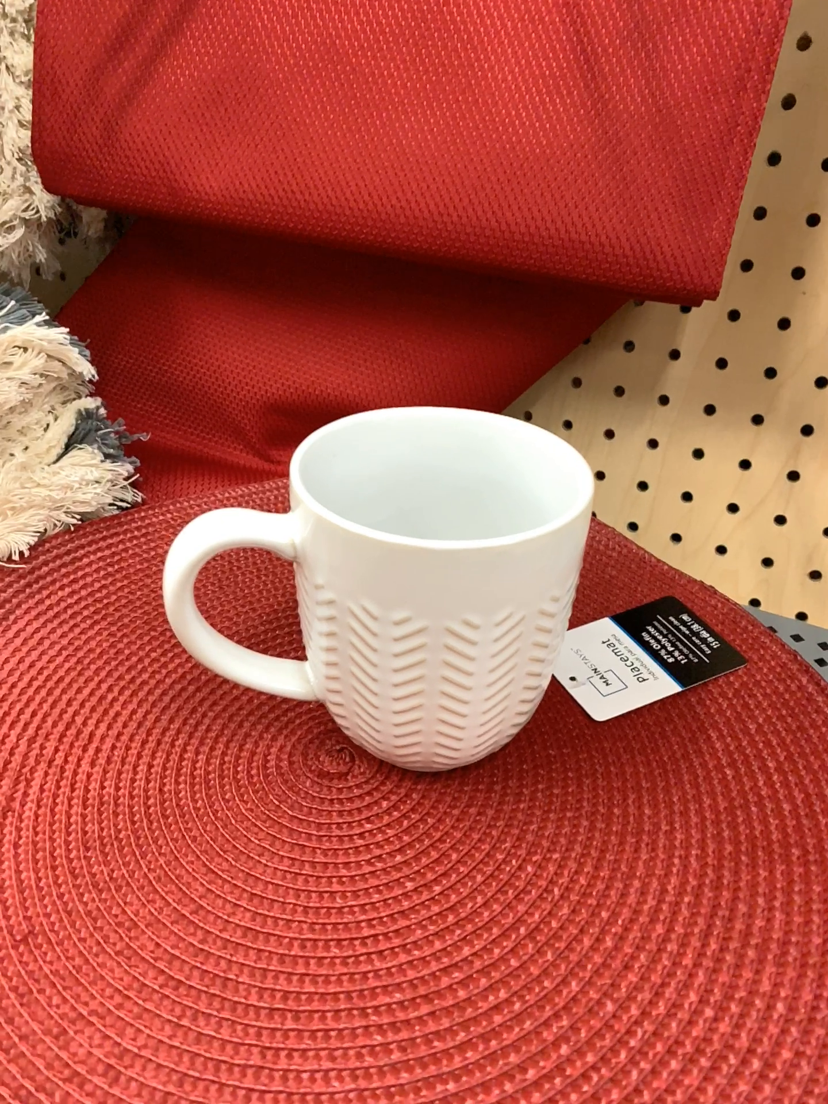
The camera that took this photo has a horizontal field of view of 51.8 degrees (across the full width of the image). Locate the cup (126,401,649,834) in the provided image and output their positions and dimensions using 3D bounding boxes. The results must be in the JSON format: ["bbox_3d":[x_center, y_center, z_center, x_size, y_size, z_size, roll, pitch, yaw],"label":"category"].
[{"bbox_3d":[-0.016,0.009,0.281,0.140,0.090,0.100,-7,22,-16],"label":"cup"}]
